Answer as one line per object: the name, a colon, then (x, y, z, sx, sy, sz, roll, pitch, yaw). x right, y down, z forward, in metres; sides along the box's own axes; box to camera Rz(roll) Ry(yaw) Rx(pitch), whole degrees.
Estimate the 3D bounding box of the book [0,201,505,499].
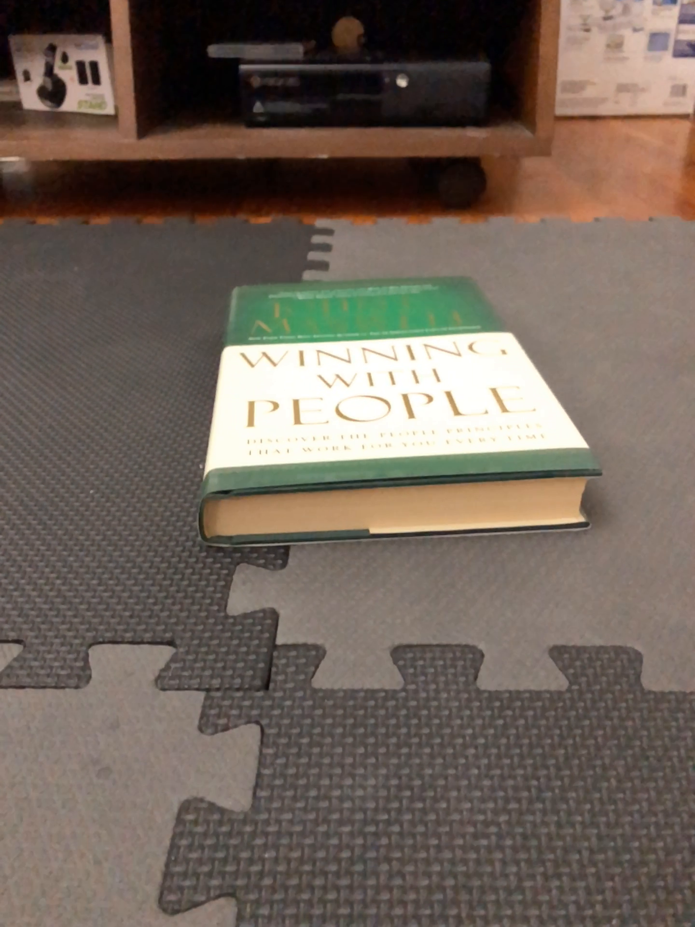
book: (-0.055, -0.079, 0.378, 0.200, 0.030, 0.292, -2, 31, -2)
